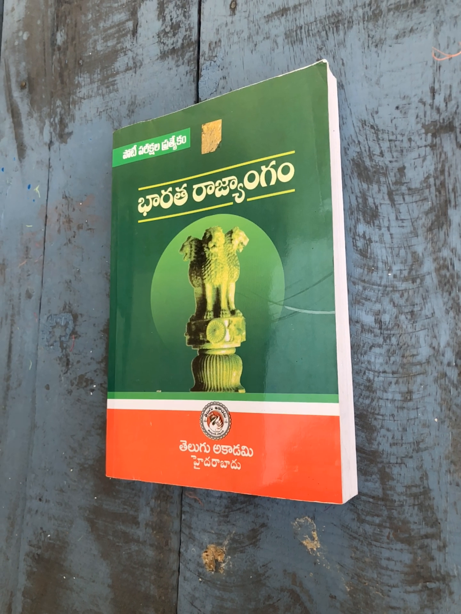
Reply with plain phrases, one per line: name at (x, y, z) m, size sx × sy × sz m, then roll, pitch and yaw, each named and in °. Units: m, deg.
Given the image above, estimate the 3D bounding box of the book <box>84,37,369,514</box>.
book at (-0.009, -0.014, 0.300) m, size 0.160 × 0.040 × 0.230 m, roll -5°, pitch 80°, yaw 30°
